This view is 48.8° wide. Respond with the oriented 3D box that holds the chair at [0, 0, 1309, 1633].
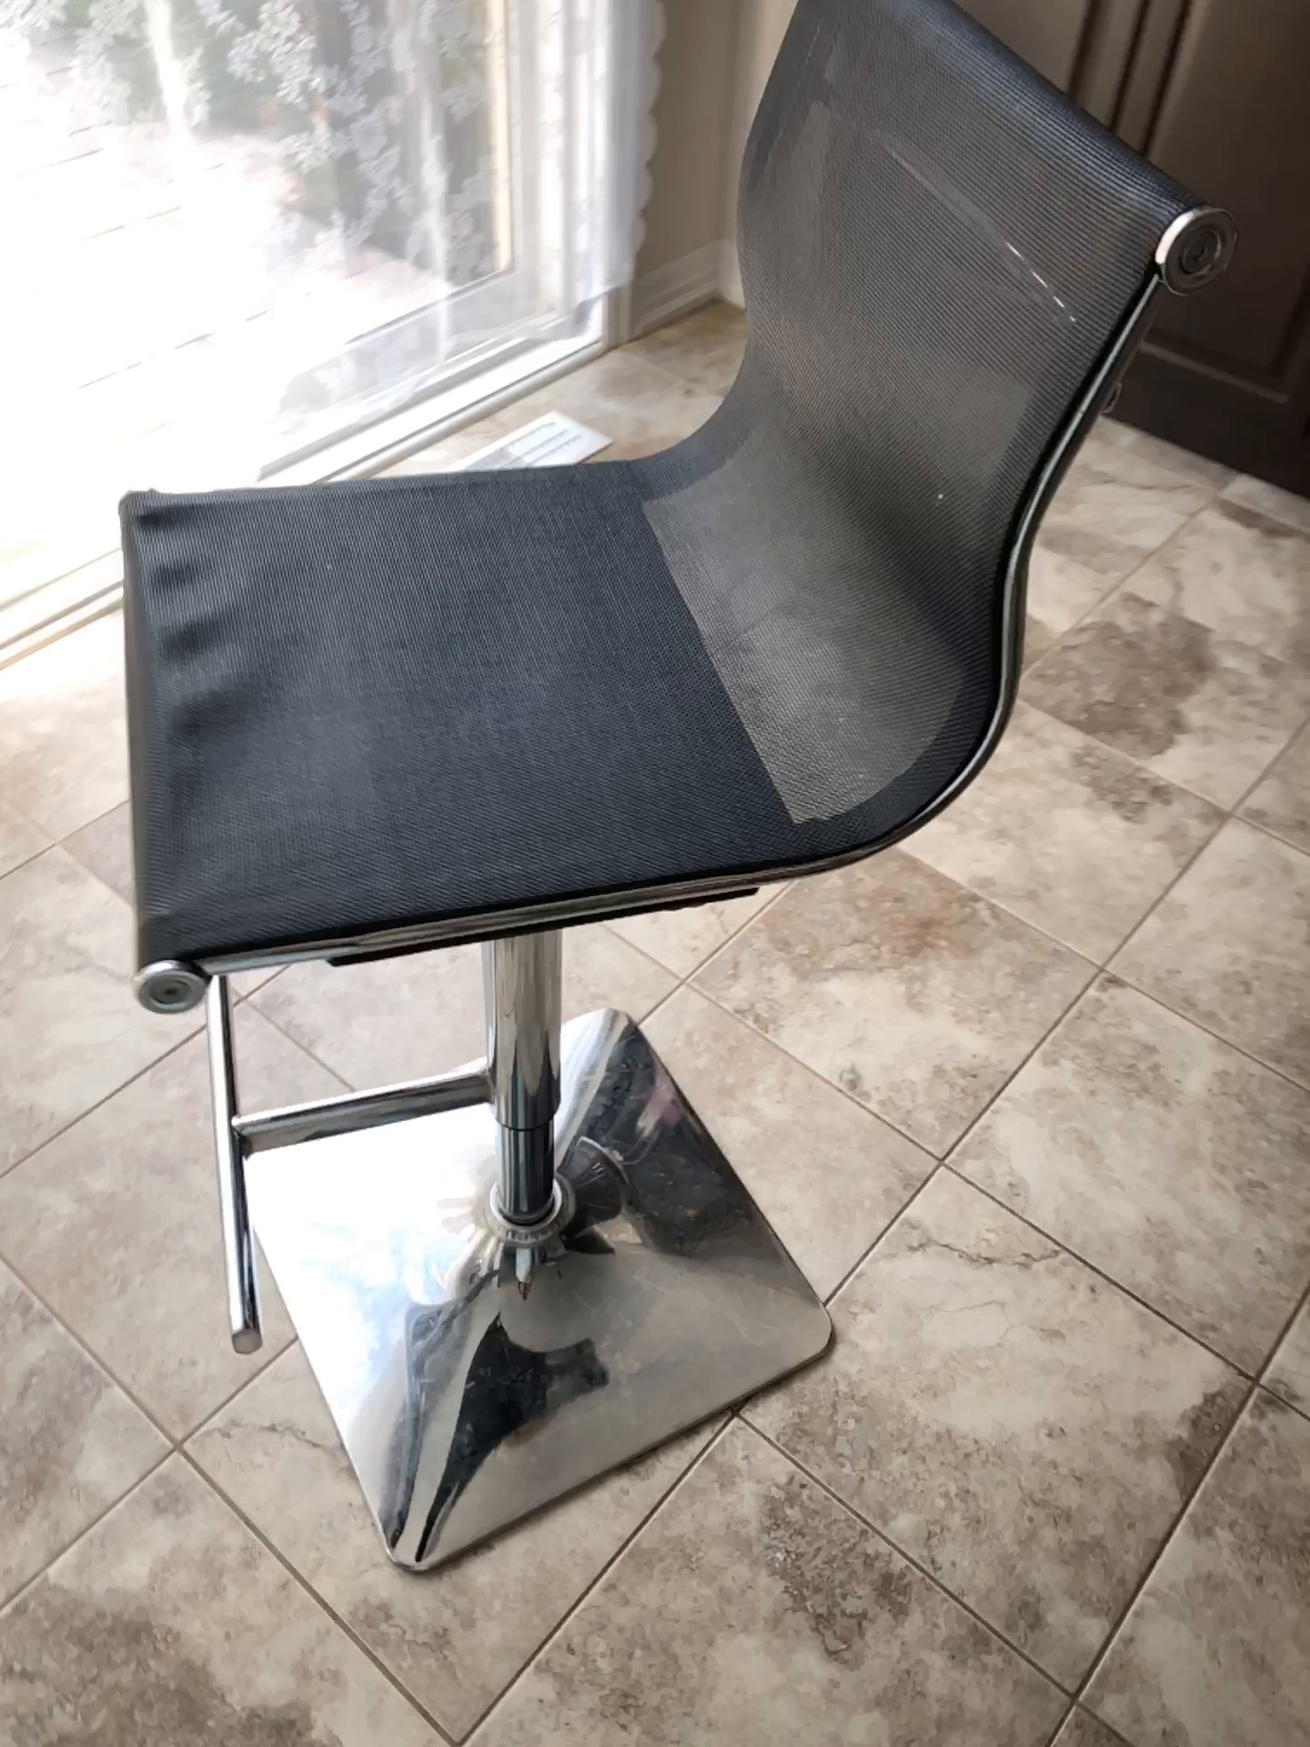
[{"bbox_3d":[-0.107,-0.013,0.939,0.550,0.977,0.542,-9,48,-12],"label":"chair"}]
